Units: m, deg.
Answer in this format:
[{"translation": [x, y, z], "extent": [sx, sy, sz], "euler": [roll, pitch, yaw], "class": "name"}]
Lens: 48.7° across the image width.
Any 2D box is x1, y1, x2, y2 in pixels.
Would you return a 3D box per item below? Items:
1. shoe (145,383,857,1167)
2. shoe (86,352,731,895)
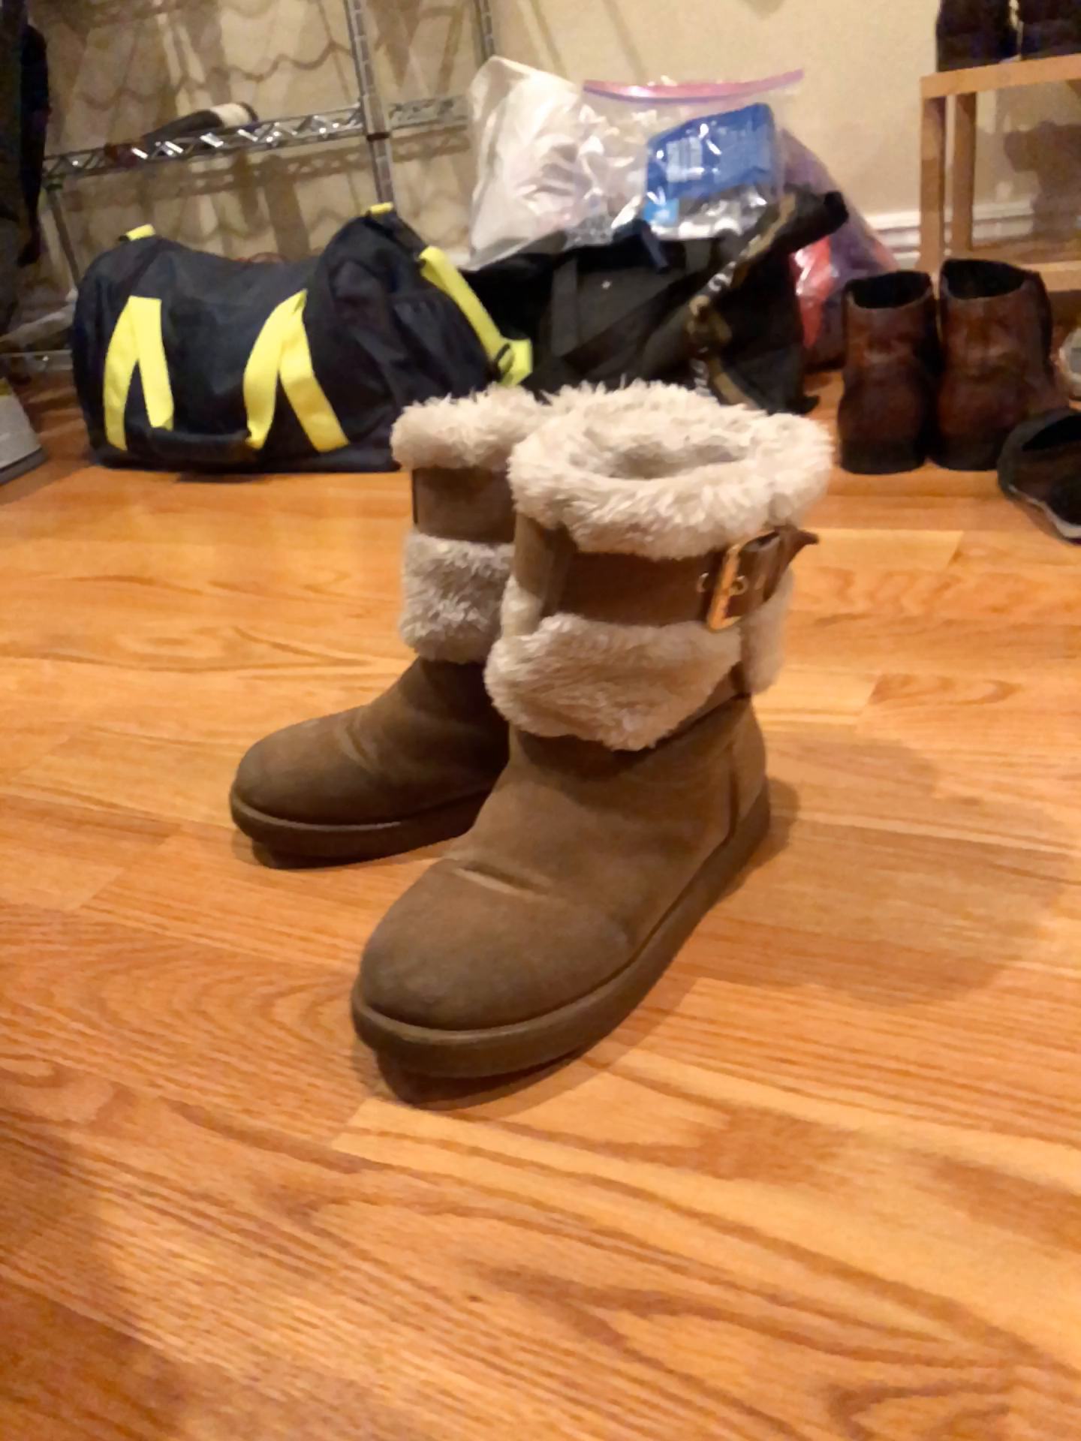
[{"translation": [0.011, -0.004, 0.467], "extent": [0.113, 0.193, 0.255], "euler": [14, 34, 38], "class": "shoe"}, {"translation": [-0.053, -0.051, 0.577], "extent": [0.254, 0.193, 0.107], "euler": [-11, 26, -5], "class": "shoe"}]
